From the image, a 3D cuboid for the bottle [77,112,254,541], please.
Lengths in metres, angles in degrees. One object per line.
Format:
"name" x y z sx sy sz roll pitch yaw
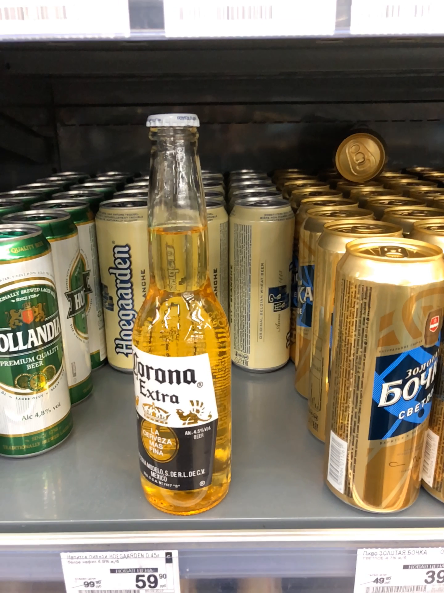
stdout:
"bottle" -0.026 0.018 0.291 0.070 0.237 0.060 8 21 24
